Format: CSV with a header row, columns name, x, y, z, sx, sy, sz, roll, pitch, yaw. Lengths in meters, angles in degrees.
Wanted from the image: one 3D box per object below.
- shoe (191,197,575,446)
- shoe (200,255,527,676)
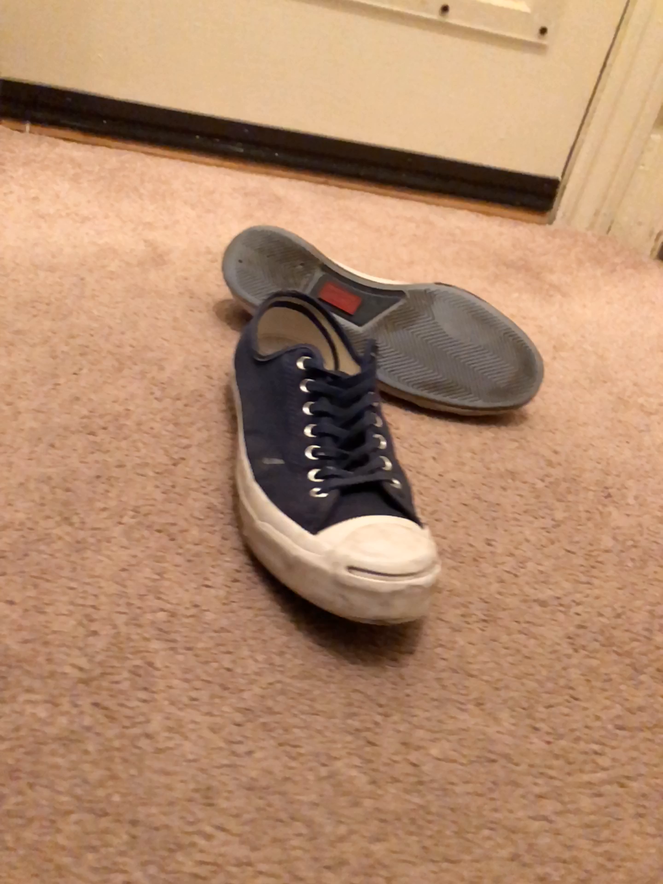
name,x,y,z,sx,sy,sz,roll,pitch,yaw
shoe,0.044,-0.104,0.639,0.296,0.104,0.099,23,7,11
shoe,-0.006,-0.008,0.465,0.116,0.098,0.288,1,36,-18
